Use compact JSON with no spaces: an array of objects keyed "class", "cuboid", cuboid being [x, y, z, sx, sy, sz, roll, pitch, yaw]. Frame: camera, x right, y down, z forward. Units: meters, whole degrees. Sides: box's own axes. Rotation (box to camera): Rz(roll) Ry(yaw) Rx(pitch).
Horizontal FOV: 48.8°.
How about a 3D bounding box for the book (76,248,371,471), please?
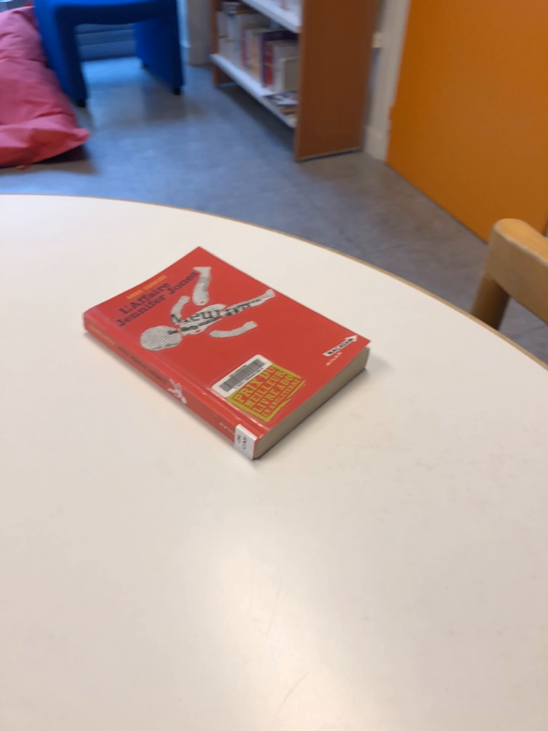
[{"class":"book","cuboid":[-0.044,-0.019,0.499,0.203,0.027,0.137,32,53,29]}]
